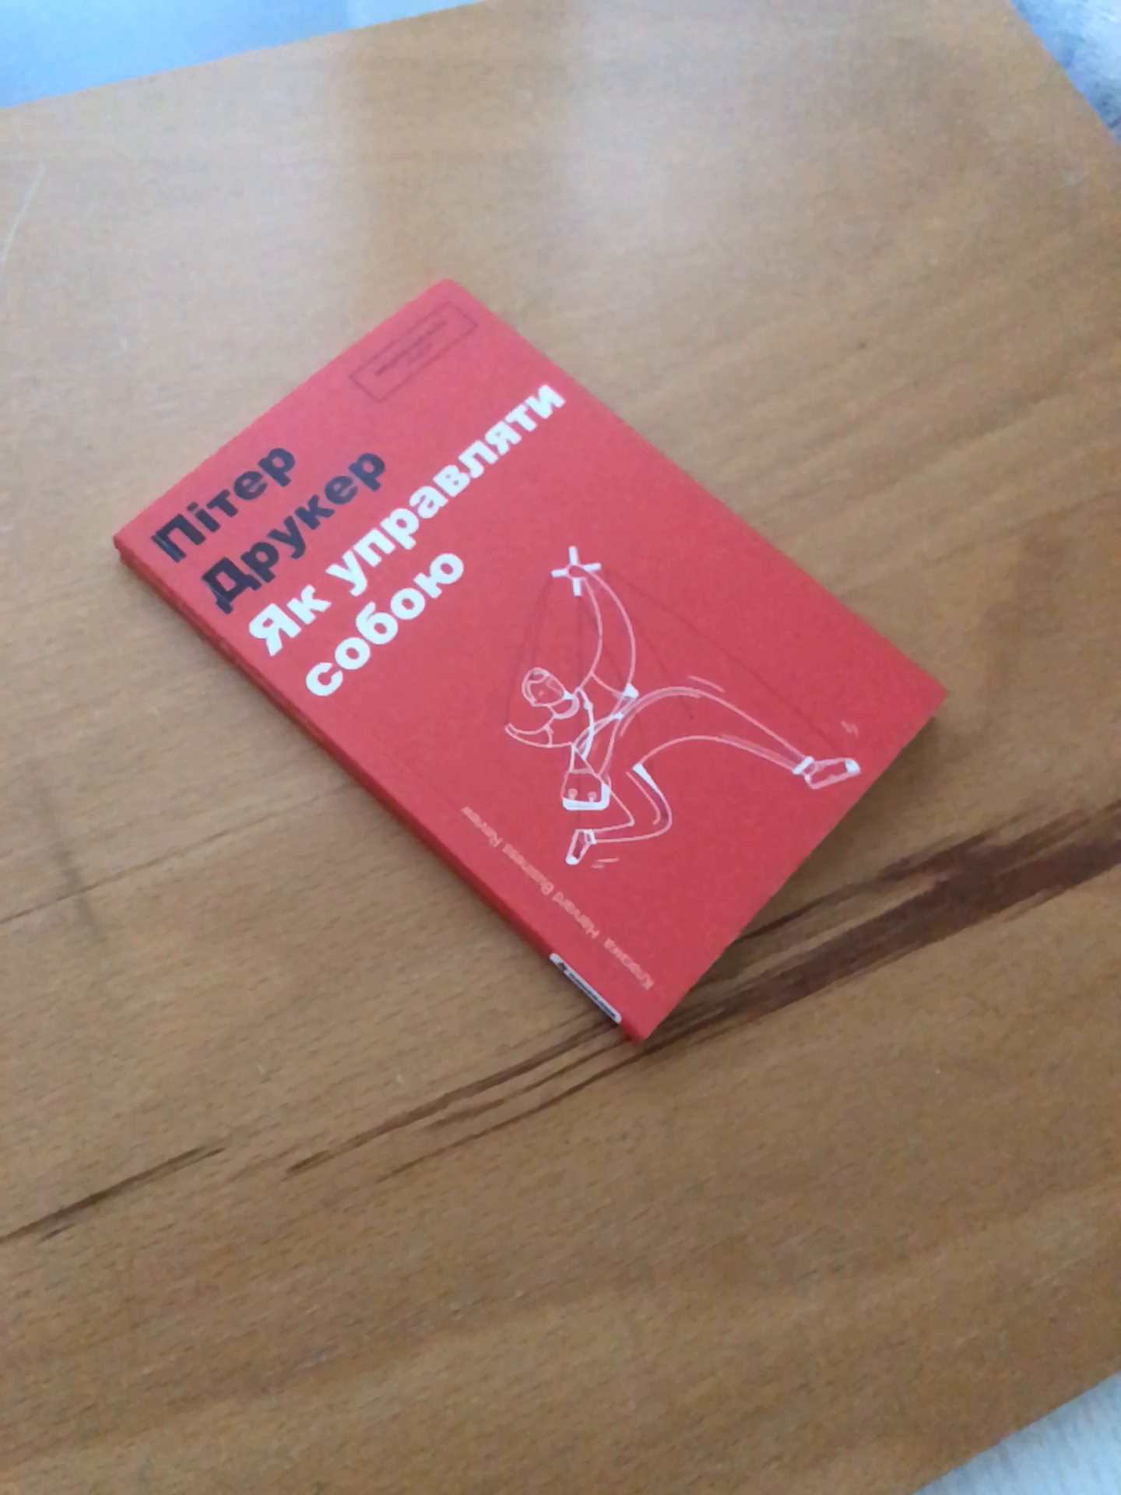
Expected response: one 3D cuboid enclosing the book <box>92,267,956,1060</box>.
[{"bbox_3d":[-0.008,-0.028,0.287,0.164,0.013,0.112,42,72,12],"label":"book"}]
